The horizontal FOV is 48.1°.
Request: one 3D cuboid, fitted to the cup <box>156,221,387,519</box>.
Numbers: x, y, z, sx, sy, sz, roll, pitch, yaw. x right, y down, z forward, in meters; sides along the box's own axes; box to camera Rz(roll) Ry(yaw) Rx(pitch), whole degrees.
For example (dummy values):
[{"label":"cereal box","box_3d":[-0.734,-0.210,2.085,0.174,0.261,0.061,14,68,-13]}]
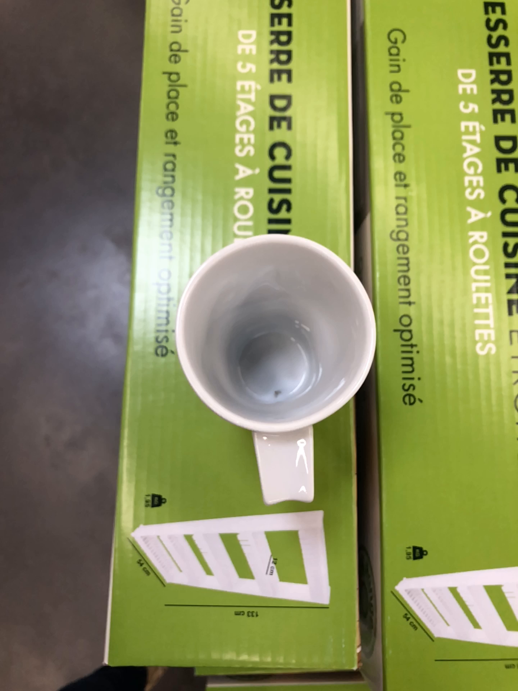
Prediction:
[{"label":"cup","box_3d":[0.002,0.014,0.266,0.083,0.088,0.111,-3,80,-2]}]
